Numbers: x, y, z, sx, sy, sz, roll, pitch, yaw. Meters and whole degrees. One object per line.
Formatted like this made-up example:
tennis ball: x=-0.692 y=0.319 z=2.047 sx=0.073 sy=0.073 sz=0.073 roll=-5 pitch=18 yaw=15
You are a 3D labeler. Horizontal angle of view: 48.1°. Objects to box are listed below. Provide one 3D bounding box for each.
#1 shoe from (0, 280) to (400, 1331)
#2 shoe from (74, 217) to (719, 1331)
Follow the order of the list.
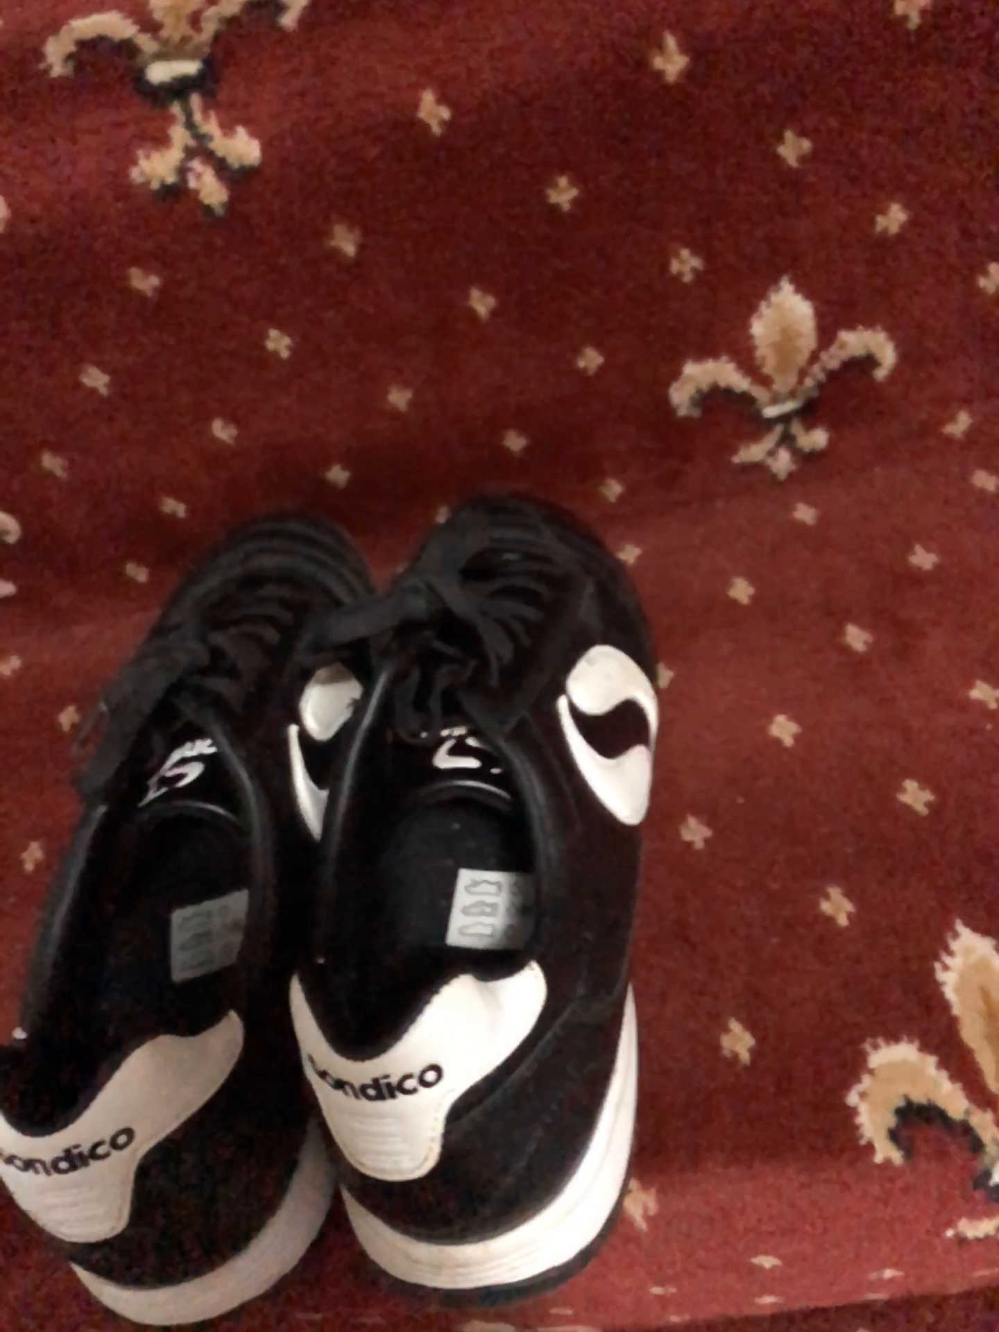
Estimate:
shoe: x=-0.092 y=0.019 z=0.325 sx=0.100 sy=0.099 sz=0.302 roll=-10 pitch=47 yaw=6
shoe: x=-0.010 y=0.002 z=0.314 sx=0.100 sy=0.099 sz=0.302 roll=-7 pitch=47 yaw=9
